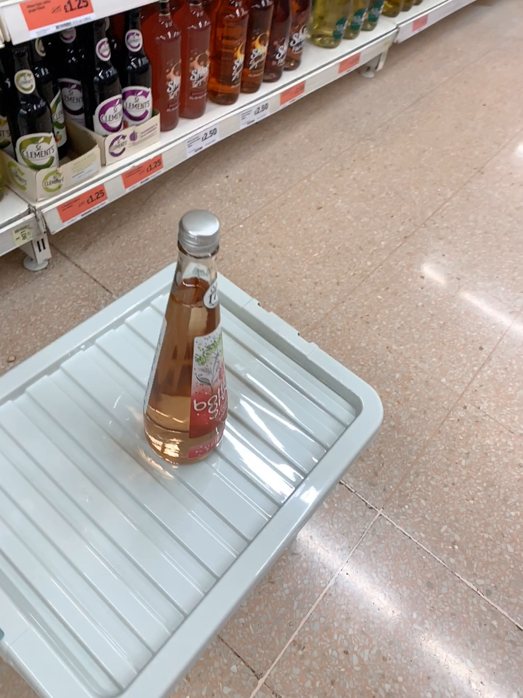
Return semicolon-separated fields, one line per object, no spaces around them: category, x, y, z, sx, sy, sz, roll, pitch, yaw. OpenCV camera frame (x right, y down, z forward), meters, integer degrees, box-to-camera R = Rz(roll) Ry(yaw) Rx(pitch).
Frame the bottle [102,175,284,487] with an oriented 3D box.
bottle;-0.066;0.009;0.476;0.090;0.299;0.081;35;56;14
